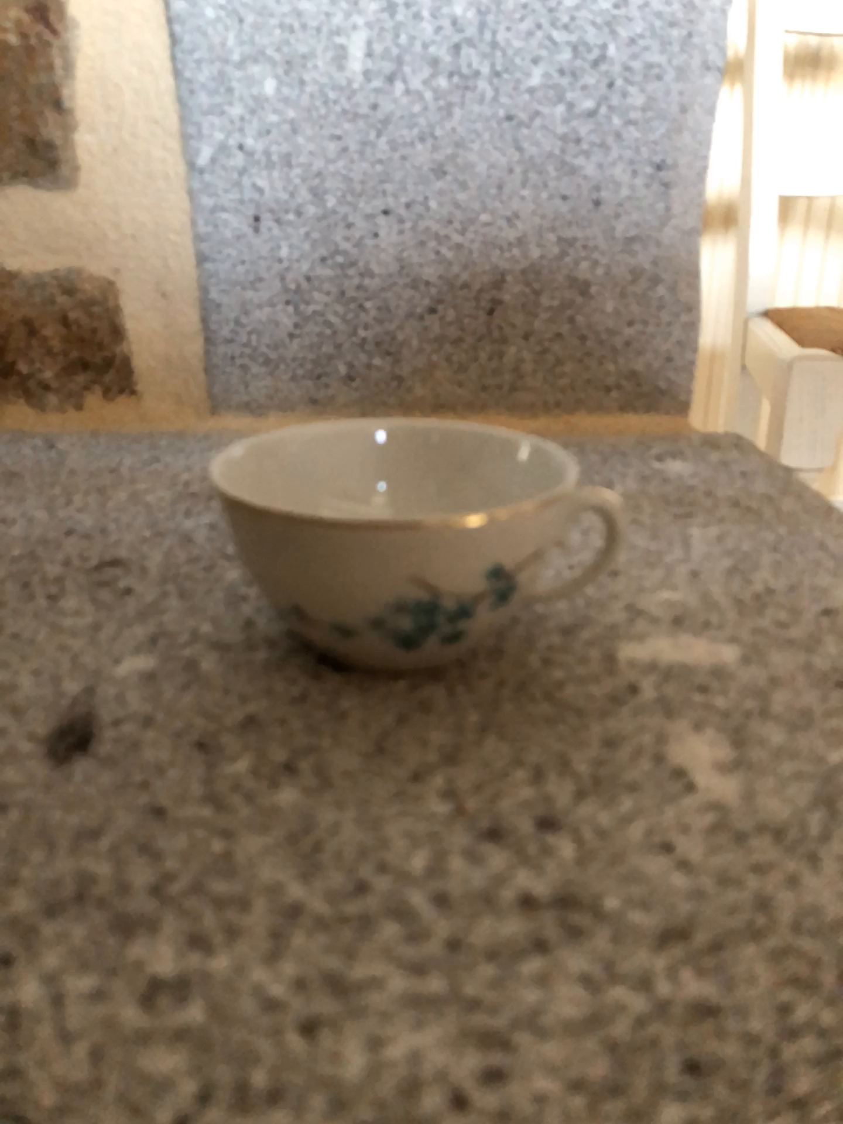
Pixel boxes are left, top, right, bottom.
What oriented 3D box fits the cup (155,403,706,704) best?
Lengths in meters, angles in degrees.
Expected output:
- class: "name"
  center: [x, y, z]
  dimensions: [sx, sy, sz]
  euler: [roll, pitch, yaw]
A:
- class: "cup"
  center: [-0.003, -0.009, 0.227]
  dimensions: [0.110, 0.040, 0.090]
  euler: [-3, 21, -9]
